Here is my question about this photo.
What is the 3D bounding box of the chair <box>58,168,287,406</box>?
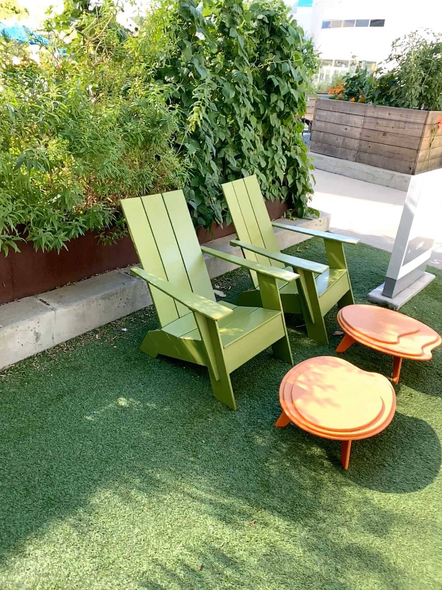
[{"bbox_3d":[-0.233,-0.111,2.513,0.821,1.006,0.772,6,21,41],"label":"chair"}]

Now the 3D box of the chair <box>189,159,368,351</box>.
[{"bbox_3d":[0.419,-0.301,3.040,0.821,1.016,0.732,5,22,39],"label":"chair"}]
